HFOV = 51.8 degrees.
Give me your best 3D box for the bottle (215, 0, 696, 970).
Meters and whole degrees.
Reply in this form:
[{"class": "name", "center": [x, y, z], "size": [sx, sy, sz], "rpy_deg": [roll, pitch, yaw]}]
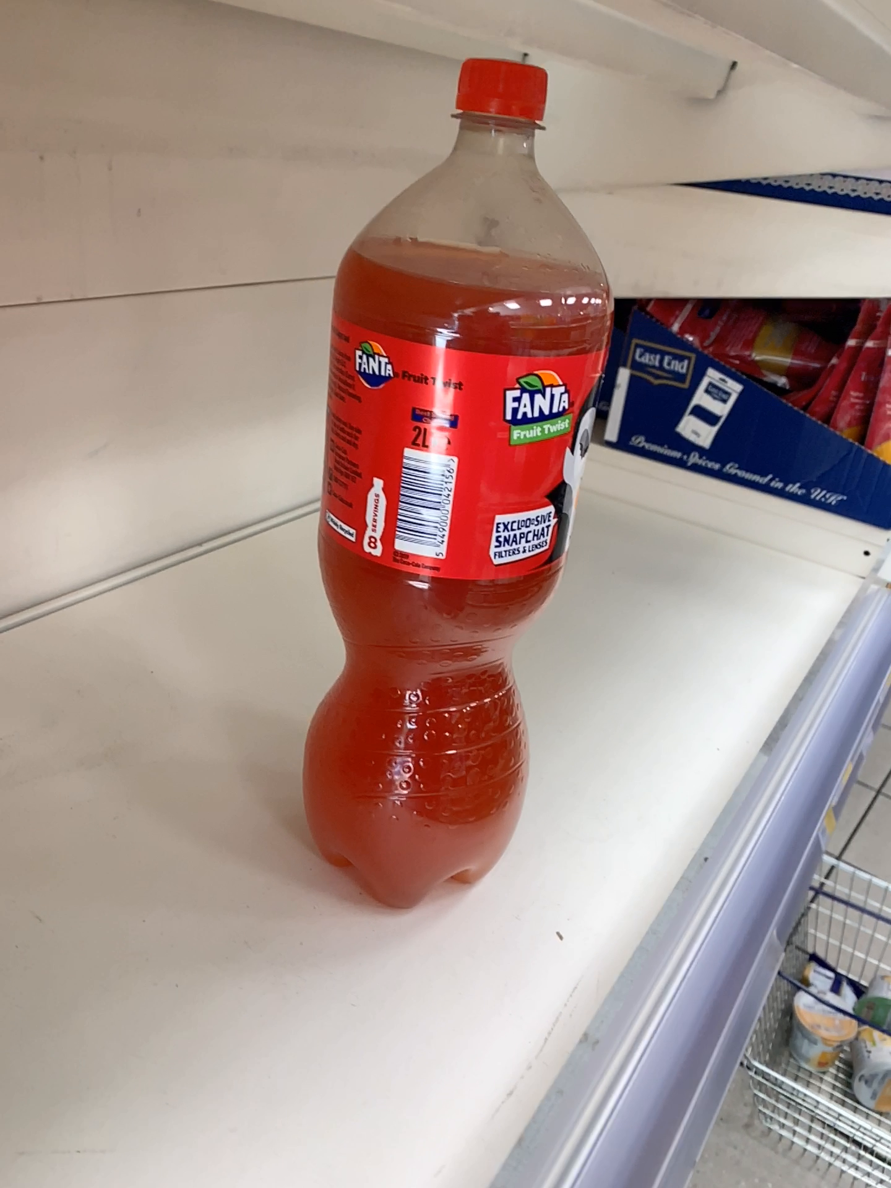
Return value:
[{"class": "bottle", "center": [-0.007, -0.032, 0.367], "size": [0.110, 0.327, 0.121], "rpy_deg": [7, 26, -3]}]
